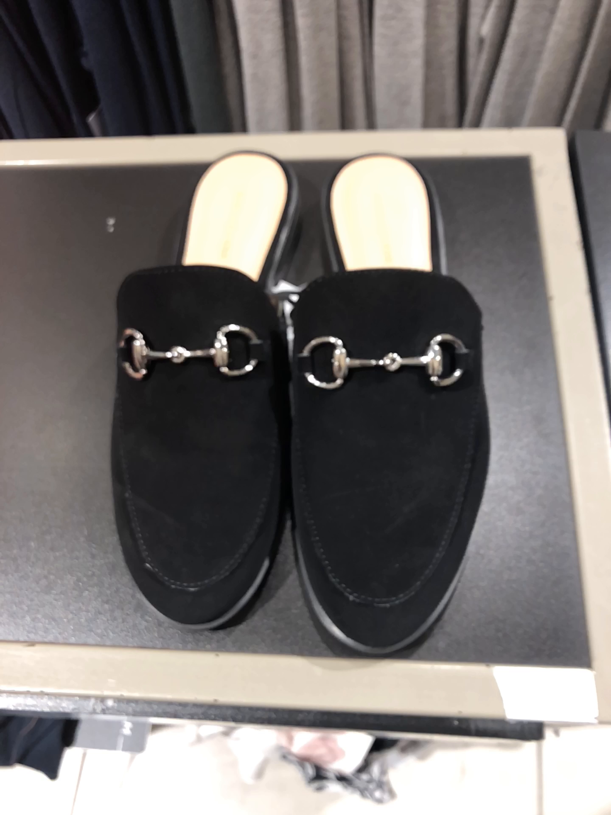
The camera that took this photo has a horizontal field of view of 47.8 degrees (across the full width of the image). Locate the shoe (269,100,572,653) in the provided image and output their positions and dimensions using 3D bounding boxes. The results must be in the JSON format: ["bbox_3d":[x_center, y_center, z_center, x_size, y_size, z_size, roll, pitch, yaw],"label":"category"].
[{"bbox_3d":[0.037,-0.019,0.287,0.090,0.070,0.221,-2,63,4],"label":"shoe"}]

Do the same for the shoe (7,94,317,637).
[{"bbox_3d":[-0.047,-0.019,0.301,0.090,0.080,0.221,1,69,5],"label":"shoe"}]
